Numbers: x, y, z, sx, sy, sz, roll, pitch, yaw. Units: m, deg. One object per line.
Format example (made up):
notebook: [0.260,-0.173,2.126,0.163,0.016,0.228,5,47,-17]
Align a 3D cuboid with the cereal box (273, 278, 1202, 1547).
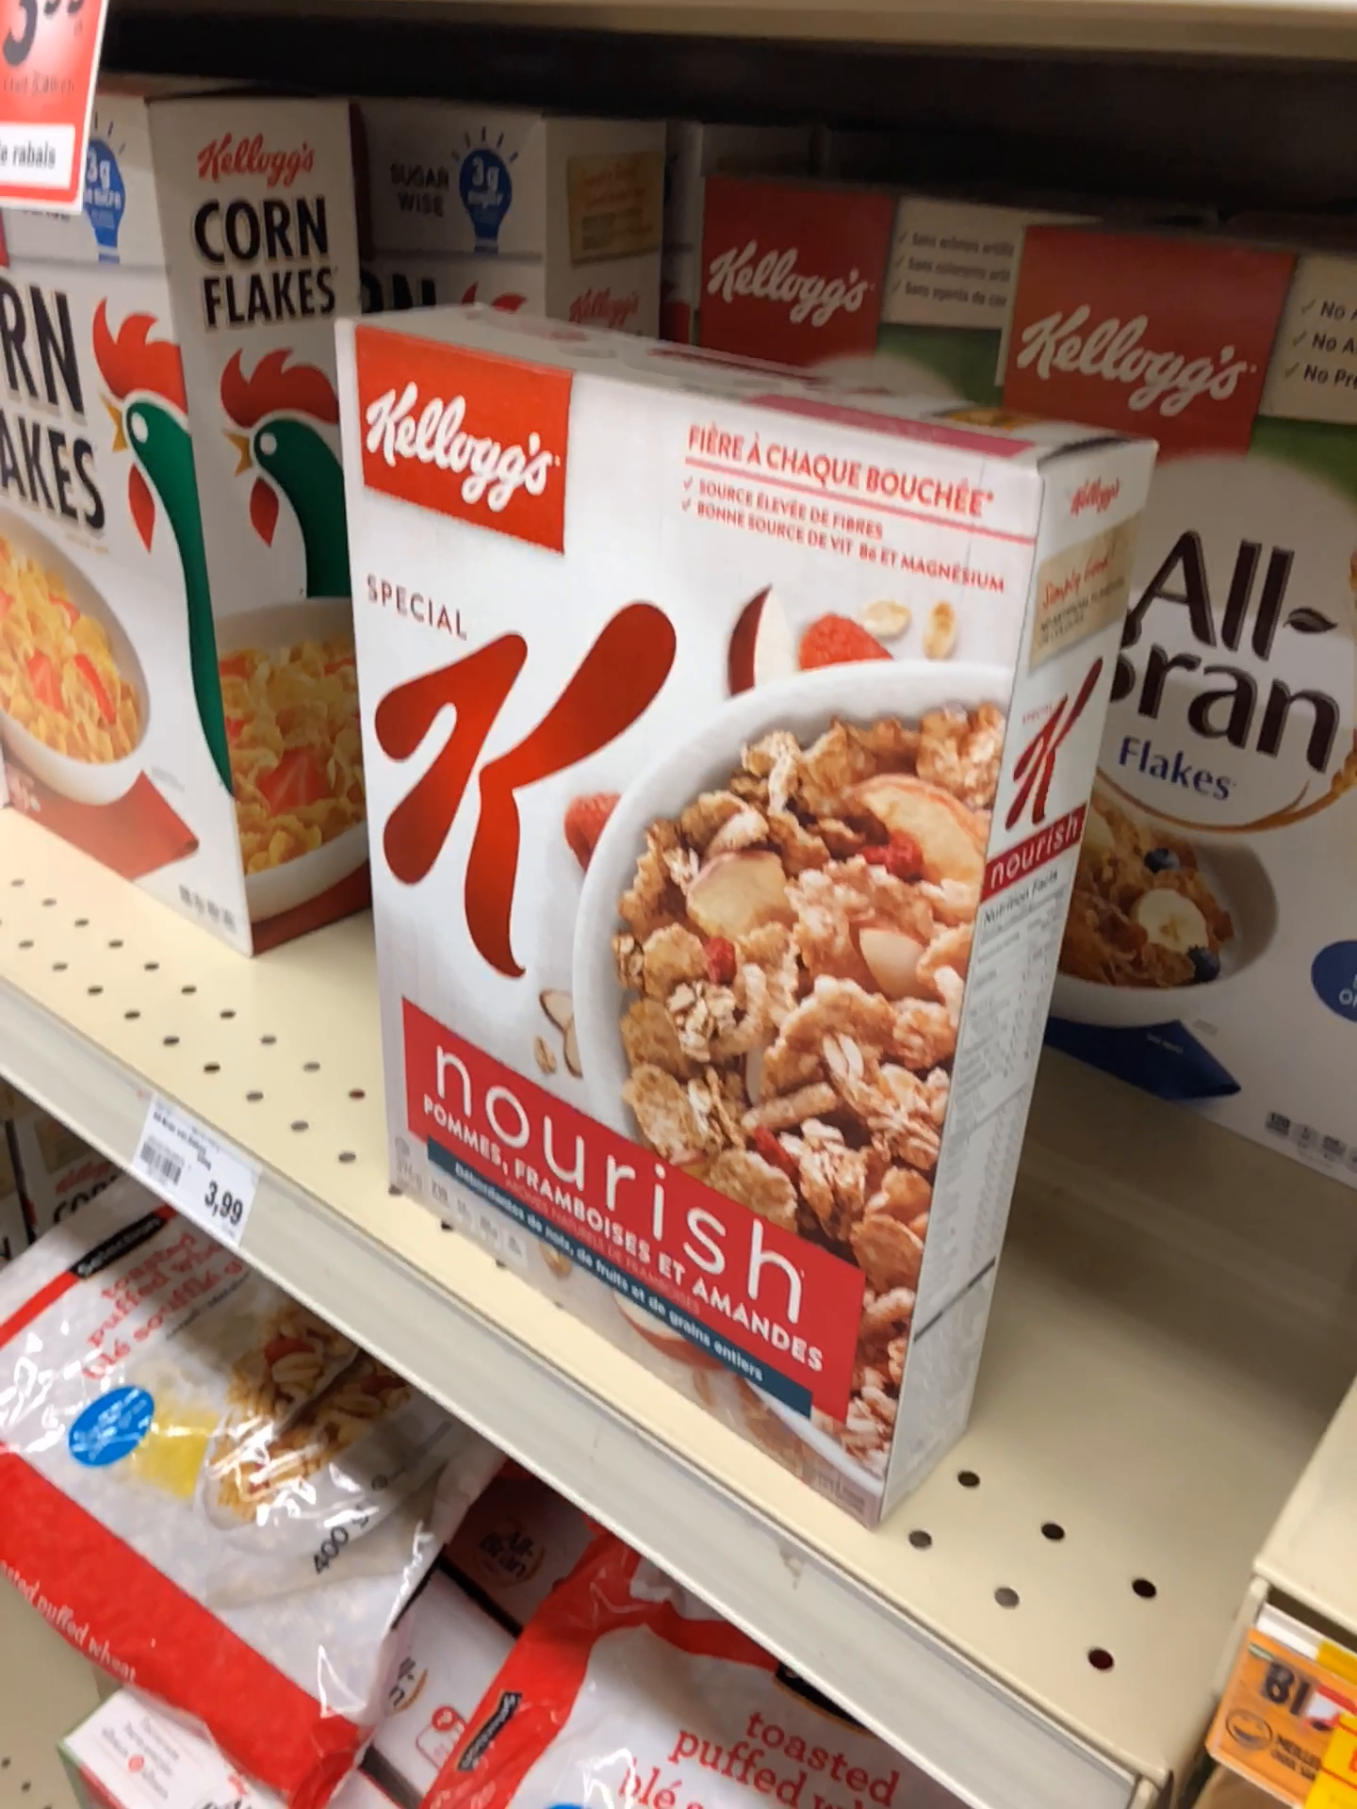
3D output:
cereal box: [-0.005,-0.006,0.366,0.201,0.248,0.060,26,36,36]
